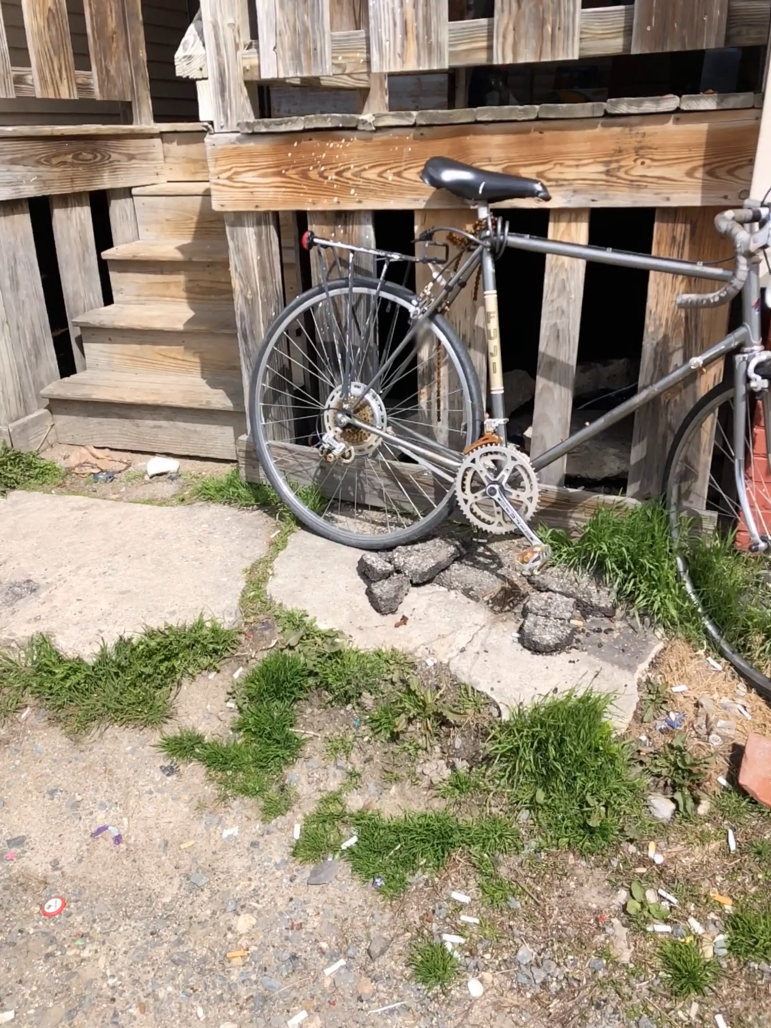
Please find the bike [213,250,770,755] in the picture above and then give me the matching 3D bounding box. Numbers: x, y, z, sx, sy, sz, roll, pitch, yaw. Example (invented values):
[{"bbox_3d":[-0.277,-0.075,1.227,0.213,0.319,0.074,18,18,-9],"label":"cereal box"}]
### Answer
[{"bbox_3d":[0.267,-0.142,1.437,1.202,0.478,0.400,17,29,34],"label":"bike"}]
